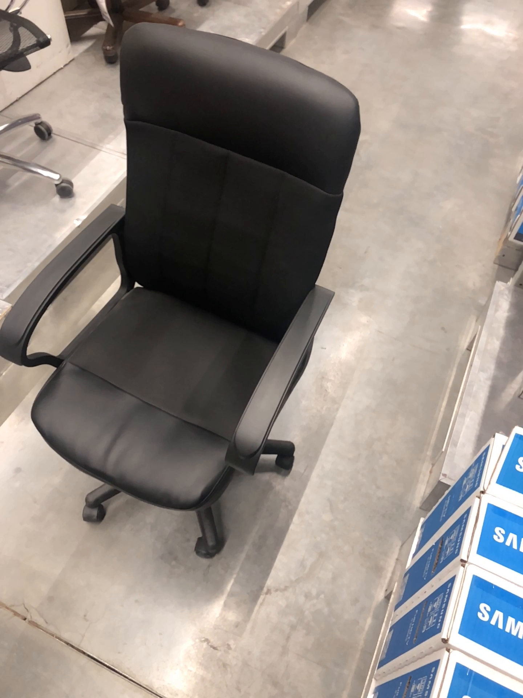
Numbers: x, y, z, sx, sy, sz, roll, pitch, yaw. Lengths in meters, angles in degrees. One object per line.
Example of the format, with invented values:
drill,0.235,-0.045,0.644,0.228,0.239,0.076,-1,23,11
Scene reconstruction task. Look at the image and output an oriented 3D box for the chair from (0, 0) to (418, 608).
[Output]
chair,-0.197,0.004,1.297,0.650,1.124,0.633,22,56,12
